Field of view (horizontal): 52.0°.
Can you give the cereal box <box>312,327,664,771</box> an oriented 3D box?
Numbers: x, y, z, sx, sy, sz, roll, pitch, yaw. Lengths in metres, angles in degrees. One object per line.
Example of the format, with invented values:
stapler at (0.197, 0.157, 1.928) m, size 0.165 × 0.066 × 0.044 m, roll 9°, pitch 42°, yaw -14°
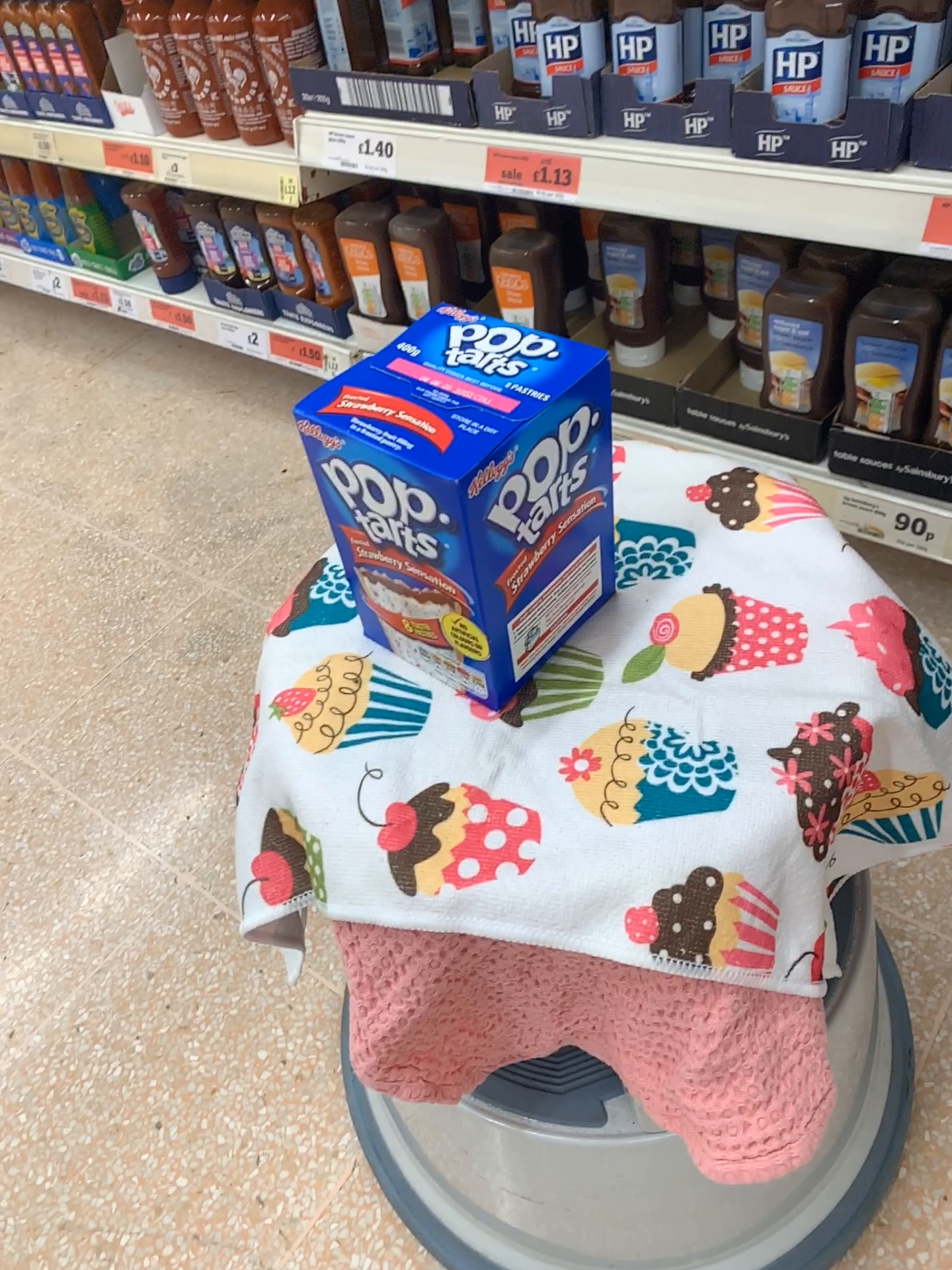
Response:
cereal box at (0.014, -0.037, 0.424) m, size 0.090 × 0.139 × 0.100 m, roll 28°, pitch 57°, yaw 34°
